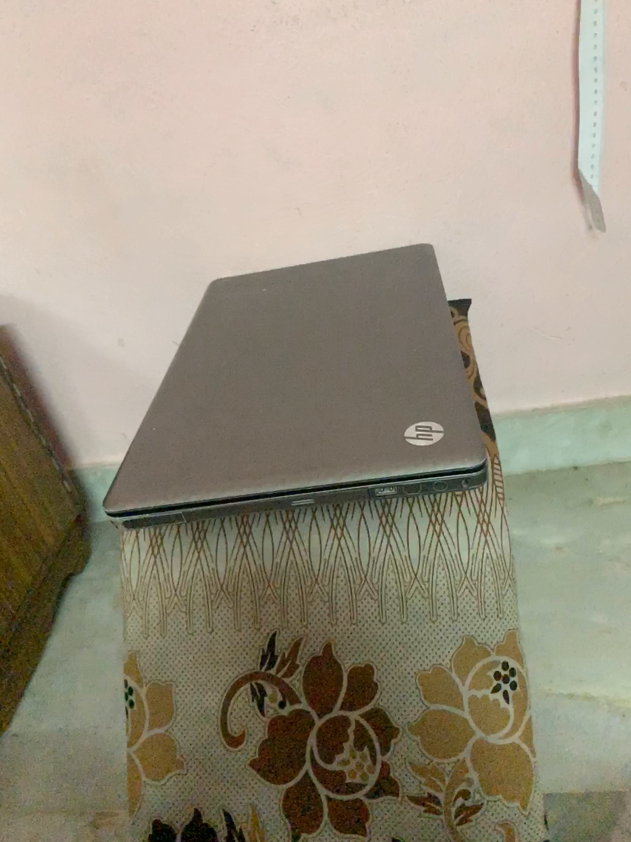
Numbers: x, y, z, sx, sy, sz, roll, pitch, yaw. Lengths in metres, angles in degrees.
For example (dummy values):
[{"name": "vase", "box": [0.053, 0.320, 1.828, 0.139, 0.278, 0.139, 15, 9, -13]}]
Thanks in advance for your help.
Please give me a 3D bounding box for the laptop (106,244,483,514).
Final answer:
[{"name": "laptop", "box": [-0.008, -0.065, 0.571, 0.249, 0.002, 0.382, -7, 35, 9]}]
